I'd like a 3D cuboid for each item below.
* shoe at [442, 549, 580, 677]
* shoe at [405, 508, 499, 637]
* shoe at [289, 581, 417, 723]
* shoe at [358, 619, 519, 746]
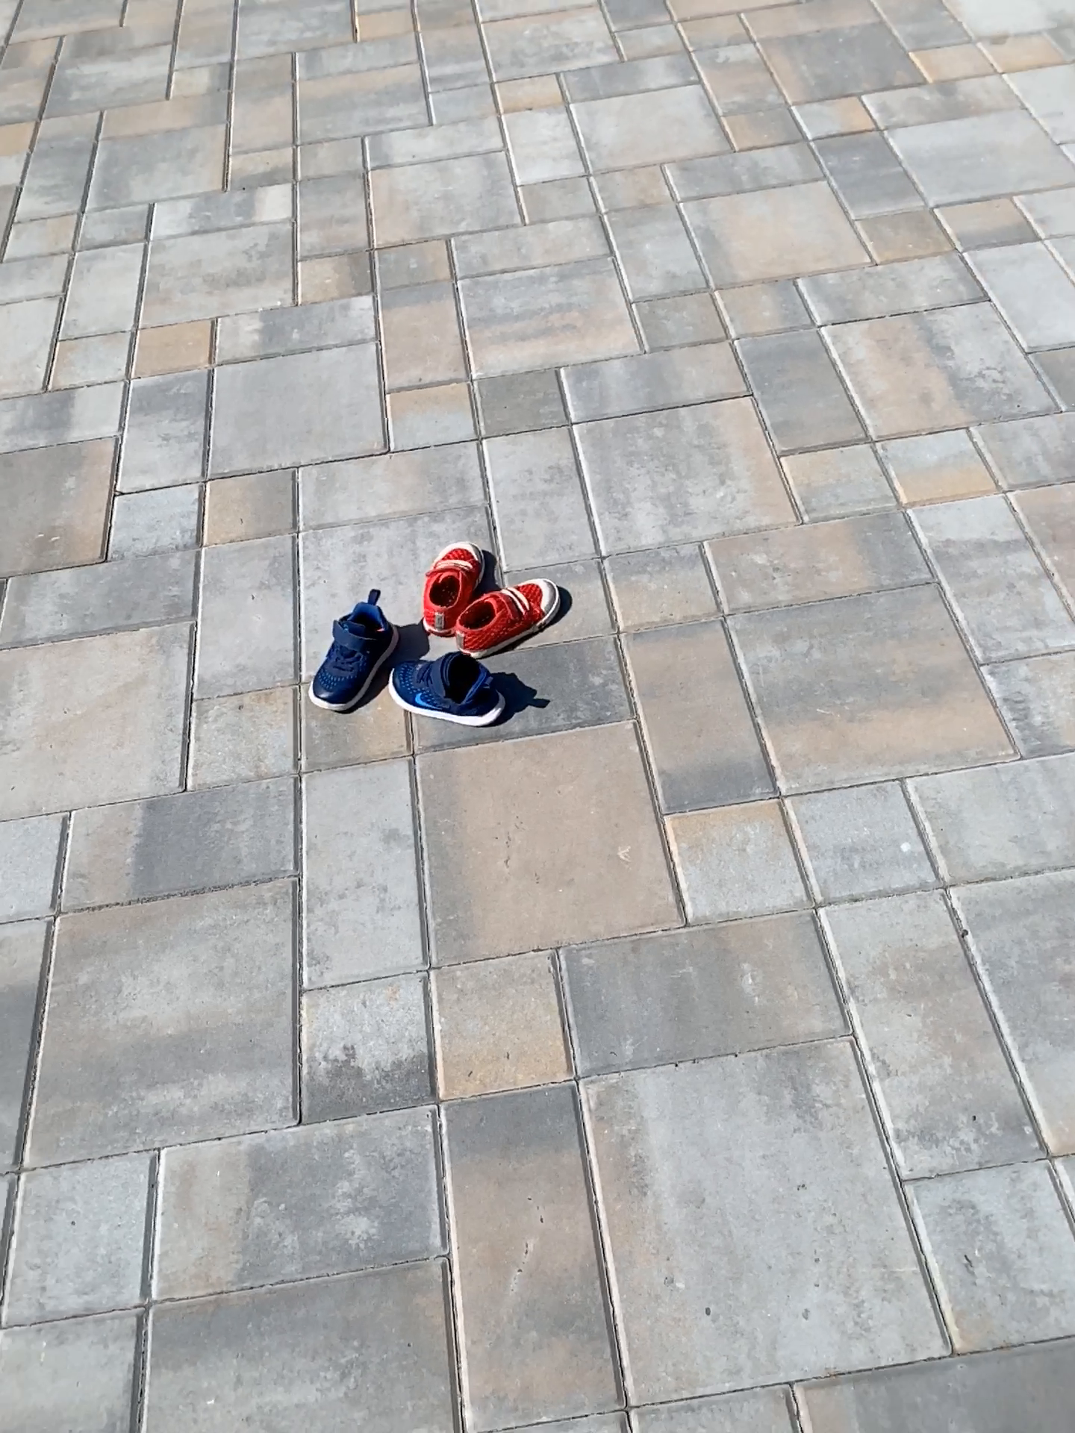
[{"bbox_3d":[-0.035,-0.144,1.513,0.170,0.070,0.080,-34,57,-18],"label":"shoe"},{"bbox_3d":[-0.117,-0.202,1.532,0.080,0.070,0.170,7,55,11],"label":"shoe"},{"bbox_3d":[-0.244,-0.088,1.471,0.080,0.070,0.170,19,58,19],"label":"shoe"},{"bbox_3d":[-0.129,-0.045,1.454,0.180,0.090,0.090,16,57,17],"label":"shoe"}]
